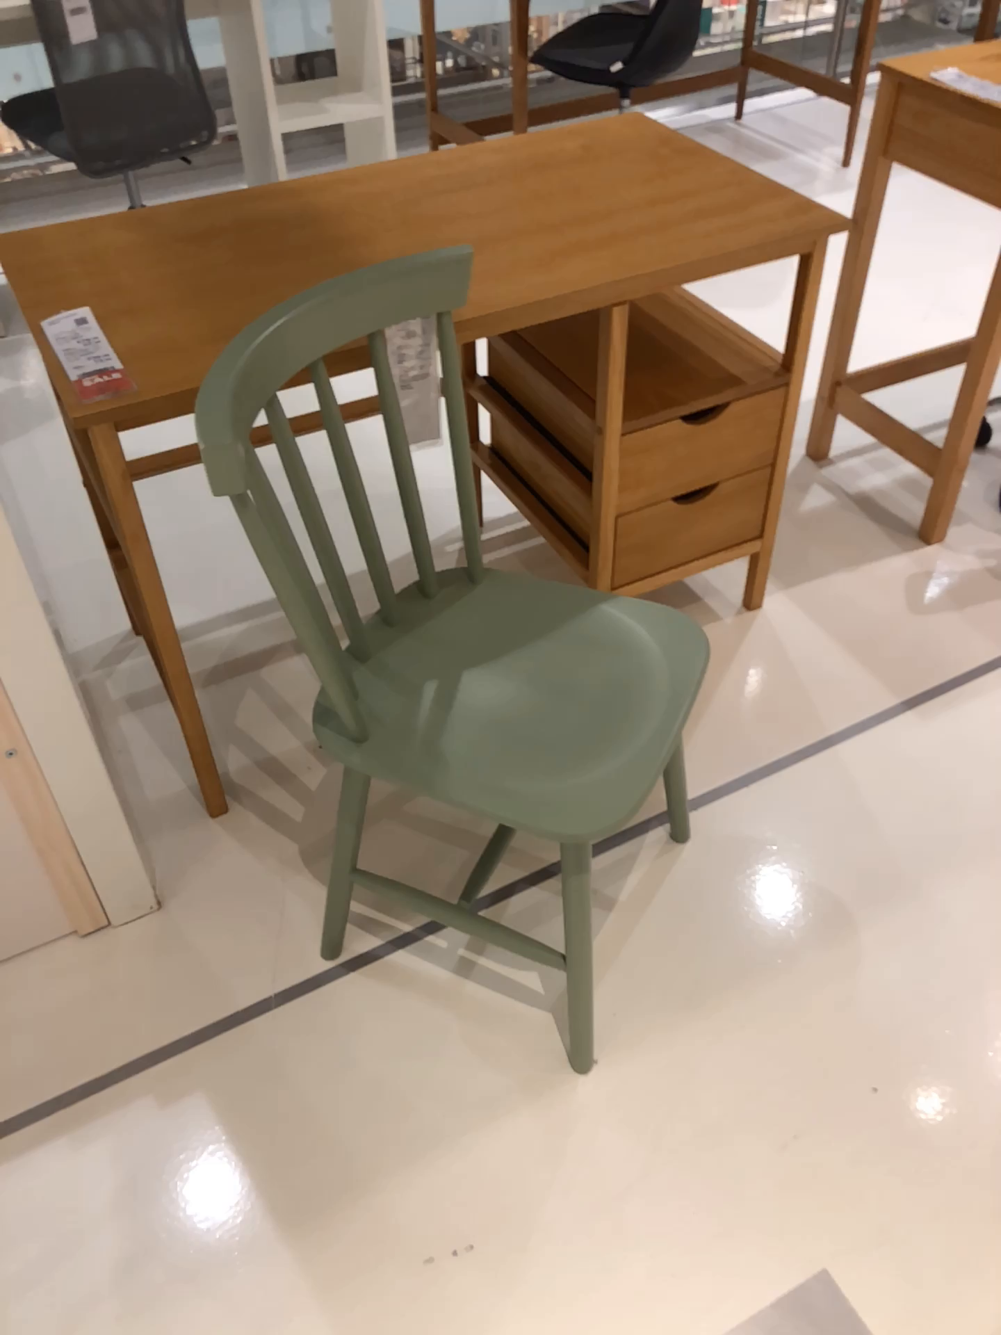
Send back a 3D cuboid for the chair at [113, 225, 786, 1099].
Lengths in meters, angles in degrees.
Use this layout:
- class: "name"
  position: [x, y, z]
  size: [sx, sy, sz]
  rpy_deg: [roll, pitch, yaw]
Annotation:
- class: "chair"
  position: [-0.014, 0.018, 1.279]
  size: [0.460, 0.834, 0.453]
  rpy_deg: [16, 46, 18]
